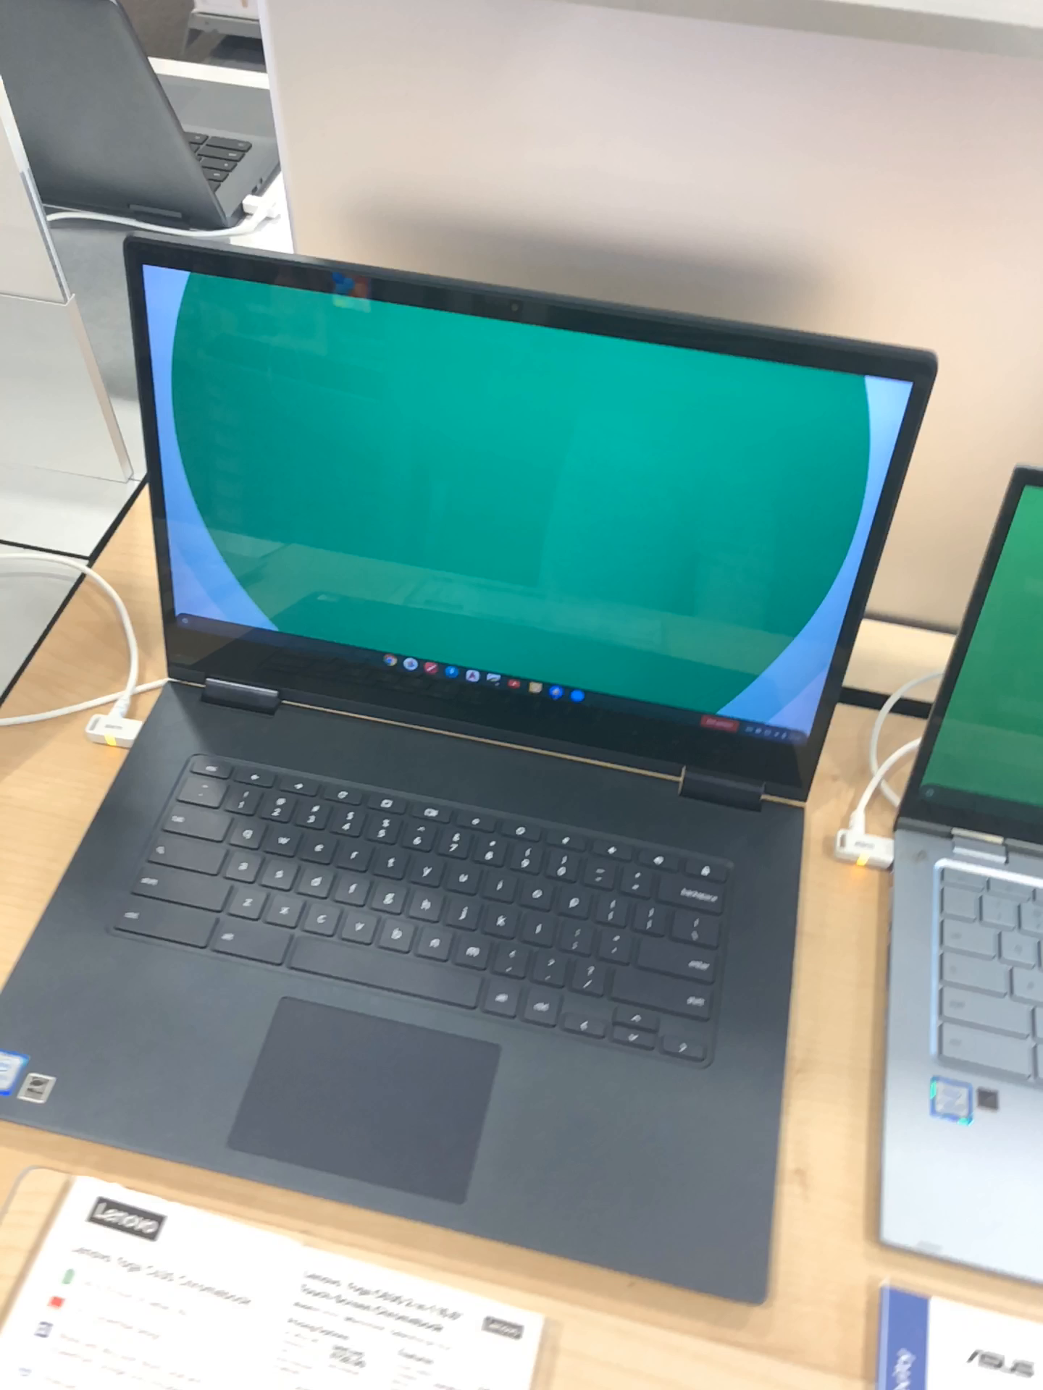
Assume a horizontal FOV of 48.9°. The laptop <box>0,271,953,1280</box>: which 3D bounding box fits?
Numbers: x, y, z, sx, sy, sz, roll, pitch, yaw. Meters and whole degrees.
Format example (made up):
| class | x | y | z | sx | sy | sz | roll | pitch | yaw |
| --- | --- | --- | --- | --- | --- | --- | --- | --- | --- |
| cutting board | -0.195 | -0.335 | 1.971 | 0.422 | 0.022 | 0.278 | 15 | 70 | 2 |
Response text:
| class | x | y | z | sx | sy | sz | roll | pitch | yaw |
| --- | --- | --- | --- | --- | --- | --- | --- | --- | --- |
| laptop | -0.035 | 0.022 | 0.475 | 0.343 | 0.231 | 0.293 | 11 | 51 | 8 |
